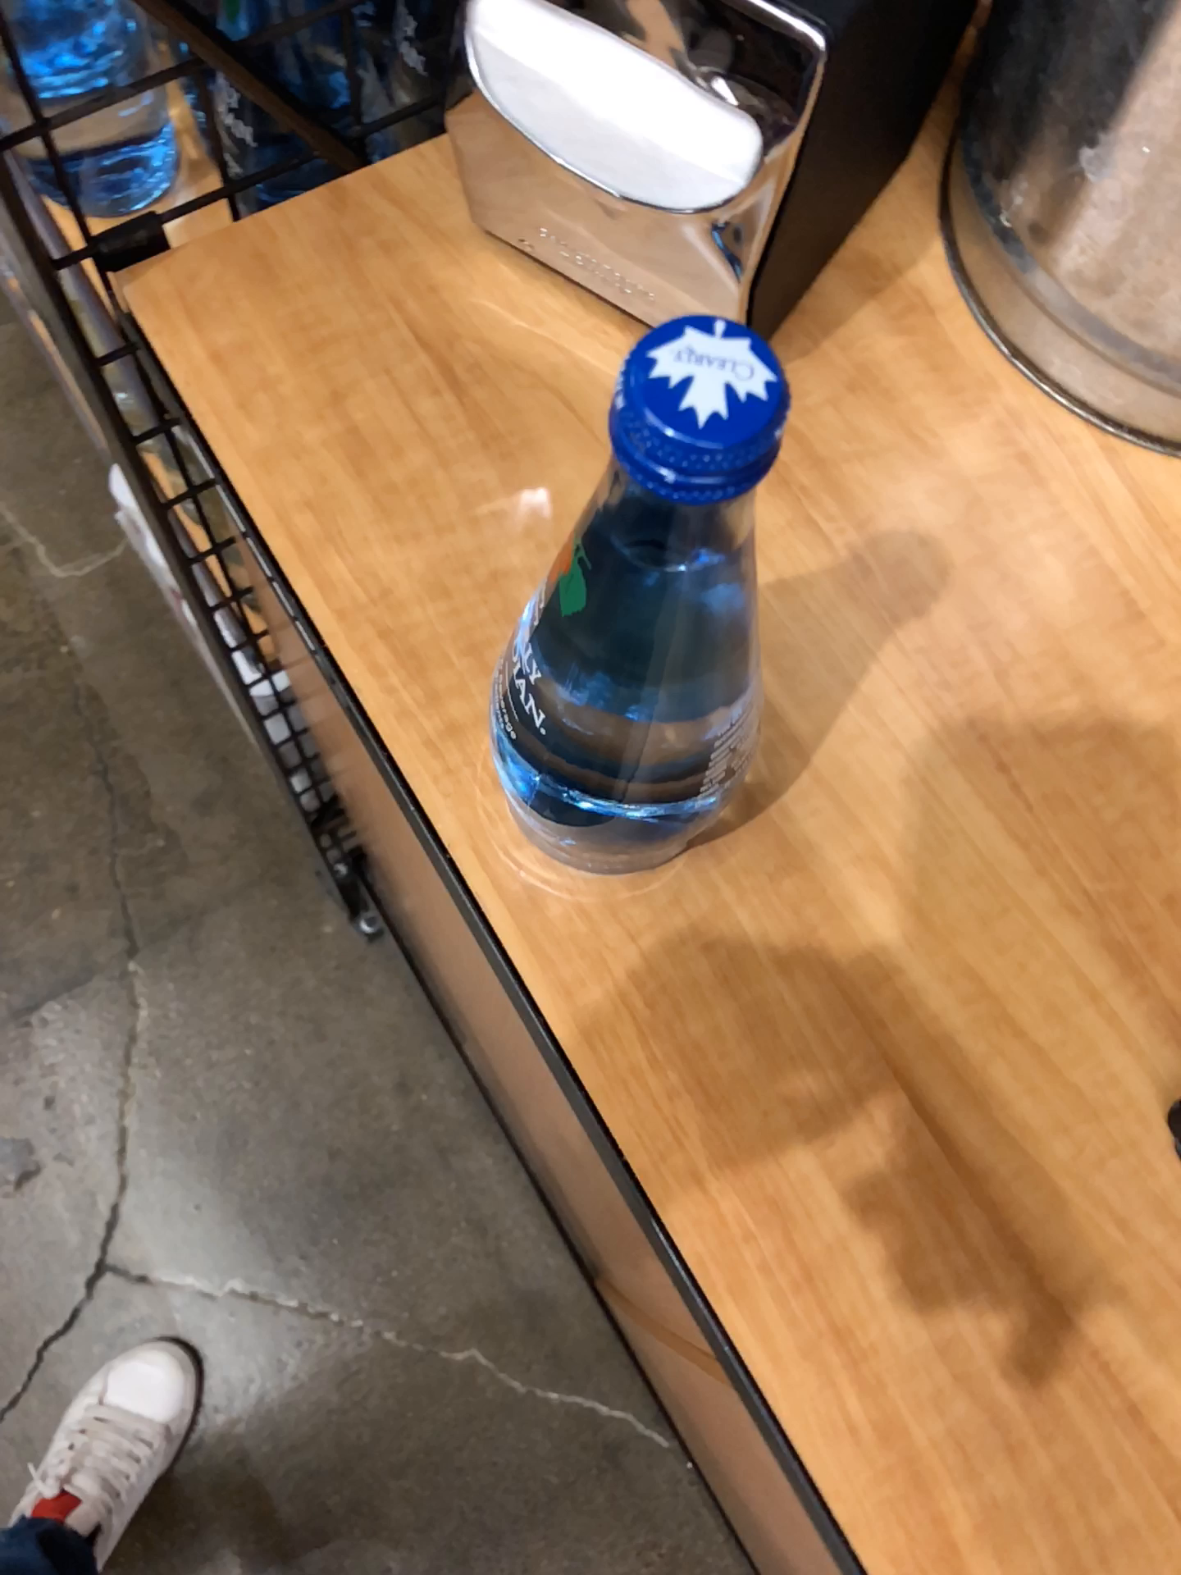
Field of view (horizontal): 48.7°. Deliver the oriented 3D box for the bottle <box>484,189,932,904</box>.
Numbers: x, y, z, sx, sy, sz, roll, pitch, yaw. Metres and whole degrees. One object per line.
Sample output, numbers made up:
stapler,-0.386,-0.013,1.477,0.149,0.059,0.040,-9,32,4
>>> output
bottle,0.013,-0.031,0.286,0.060,0.190,0.060,1,71,-4
